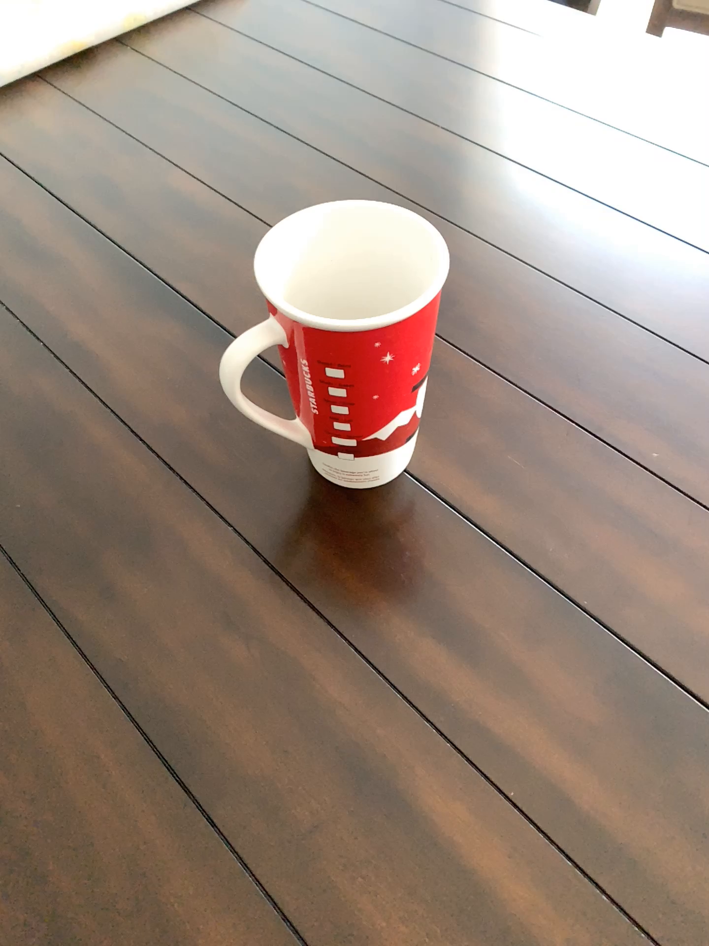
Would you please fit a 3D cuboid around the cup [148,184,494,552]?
[{"bbox_3d":[-0.015,-0.062,0.419,0.120,0.120,0.130,-2,53,2],"label":"cup"}]

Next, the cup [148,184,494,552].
[{"bbox_3d":[-0.015,-0.062,0.419,0.120,0.120,0.130,-2,53,2],"label":"cup"}]
